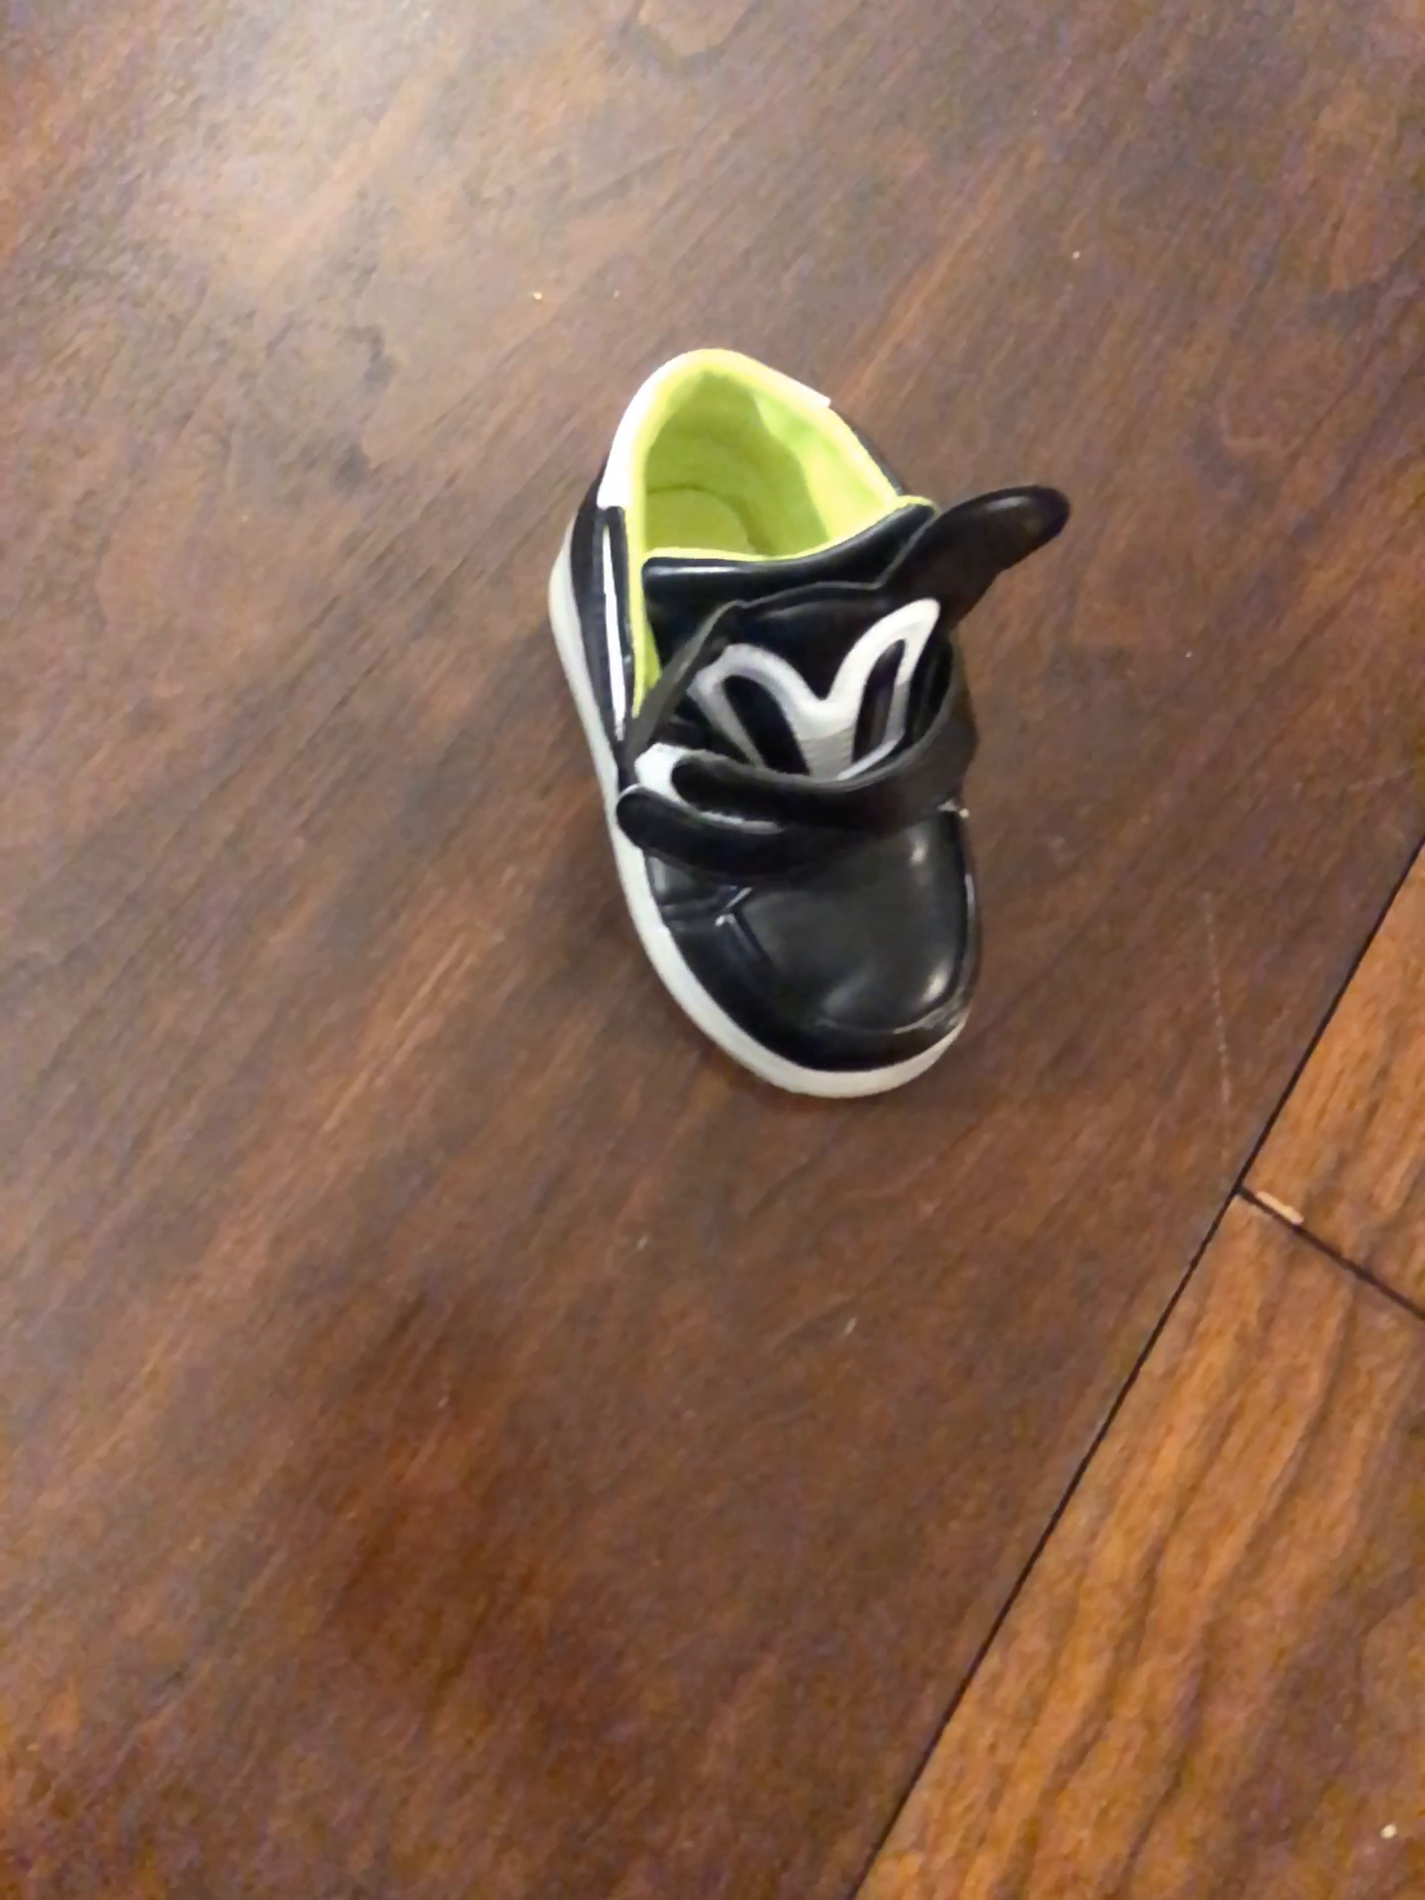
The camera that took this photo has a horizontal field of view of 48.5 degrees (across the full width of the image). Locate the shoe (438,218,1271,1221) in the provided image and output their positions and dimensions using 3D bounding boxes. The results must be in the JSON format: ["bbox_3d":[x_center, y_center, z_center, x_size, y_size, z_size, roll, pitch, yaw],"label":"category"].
[{"bbox_3d":[0.016,-0.037,0.313,0.090,0.100,0.150,-21,81,-13],"label":"shoe"}]
